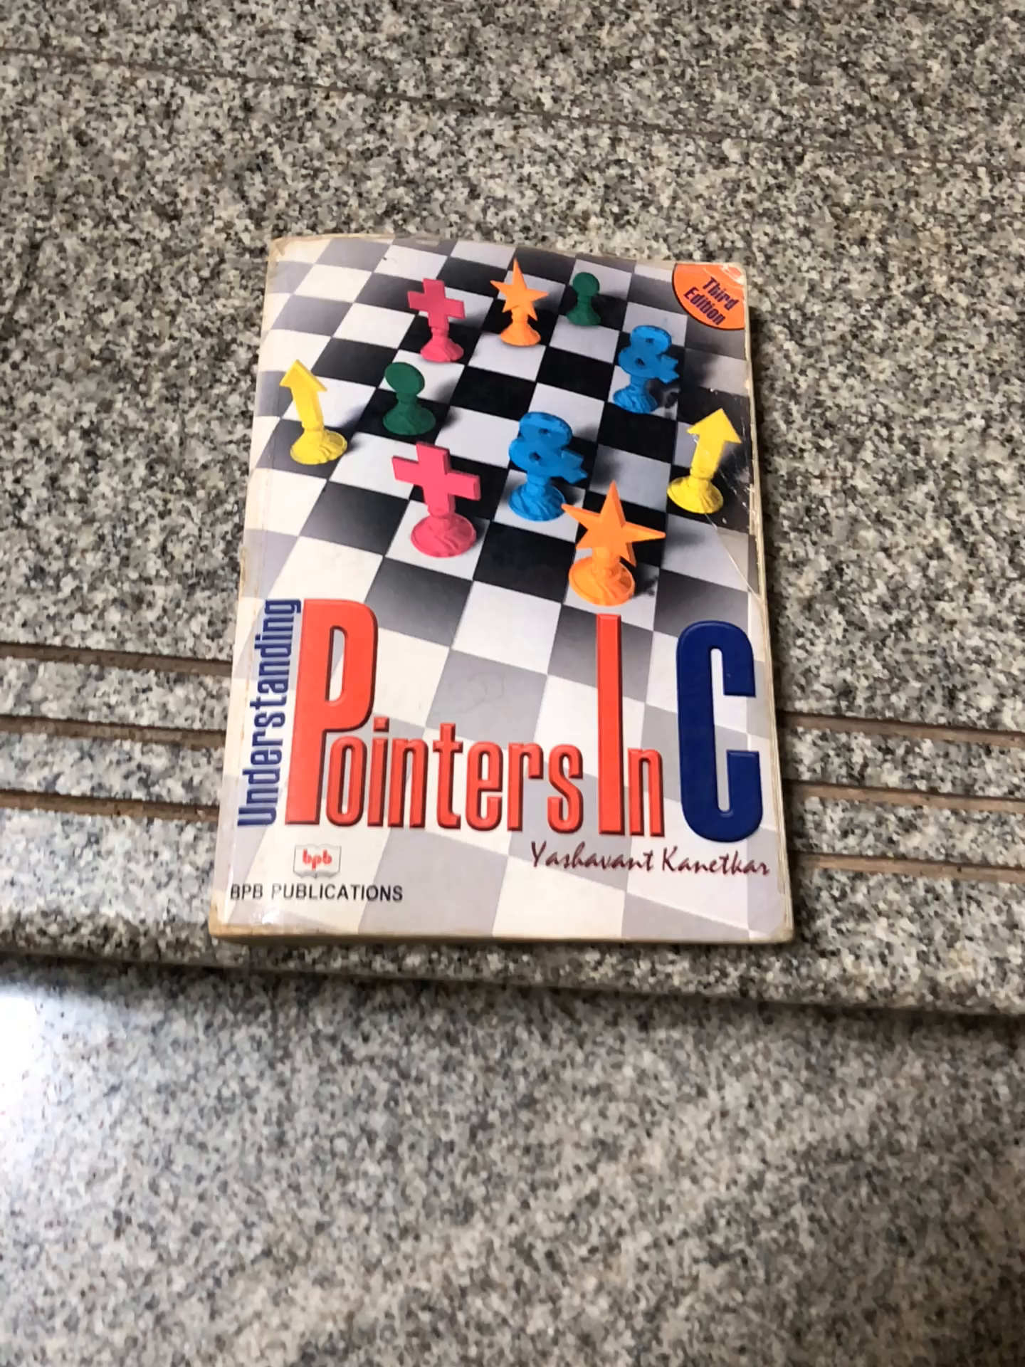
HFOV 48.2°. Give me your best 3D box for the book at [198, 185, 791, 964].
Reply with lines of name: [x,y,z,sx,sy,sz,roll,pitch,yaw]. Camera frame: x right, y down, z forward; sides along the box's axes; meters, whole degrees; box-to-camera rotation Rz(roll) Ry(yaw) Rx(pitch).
book: [-0.003,-0.037,0.322,0.140,0.030,0.220,2,70,-4]
